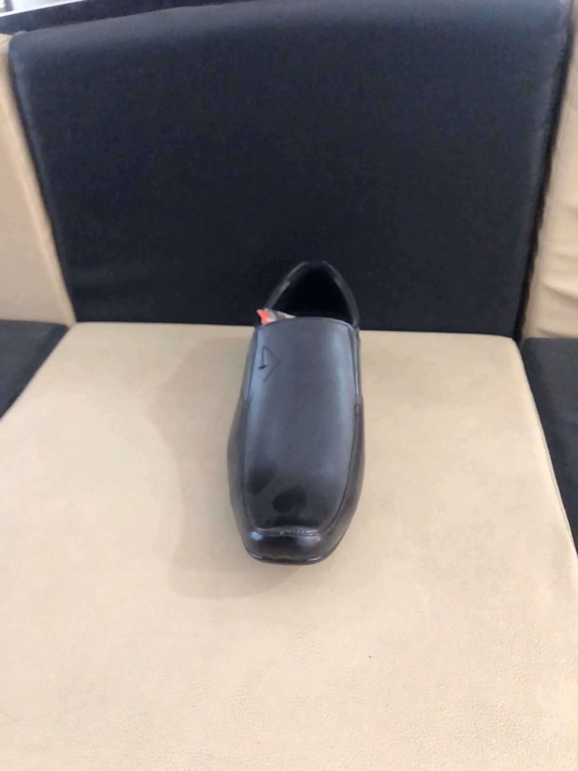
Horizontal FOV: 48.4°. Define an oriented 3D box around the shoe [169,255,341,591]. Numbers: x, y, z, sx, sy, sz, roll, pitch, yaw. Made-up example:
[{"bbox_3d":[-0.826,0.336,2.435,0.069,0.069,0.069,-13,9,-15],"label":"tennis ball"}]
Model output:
[{"bbox_3d":[-0.007,0.005,0.479,0.090,0.090,0.282,-1,36,5],"label":"shoe"}]
